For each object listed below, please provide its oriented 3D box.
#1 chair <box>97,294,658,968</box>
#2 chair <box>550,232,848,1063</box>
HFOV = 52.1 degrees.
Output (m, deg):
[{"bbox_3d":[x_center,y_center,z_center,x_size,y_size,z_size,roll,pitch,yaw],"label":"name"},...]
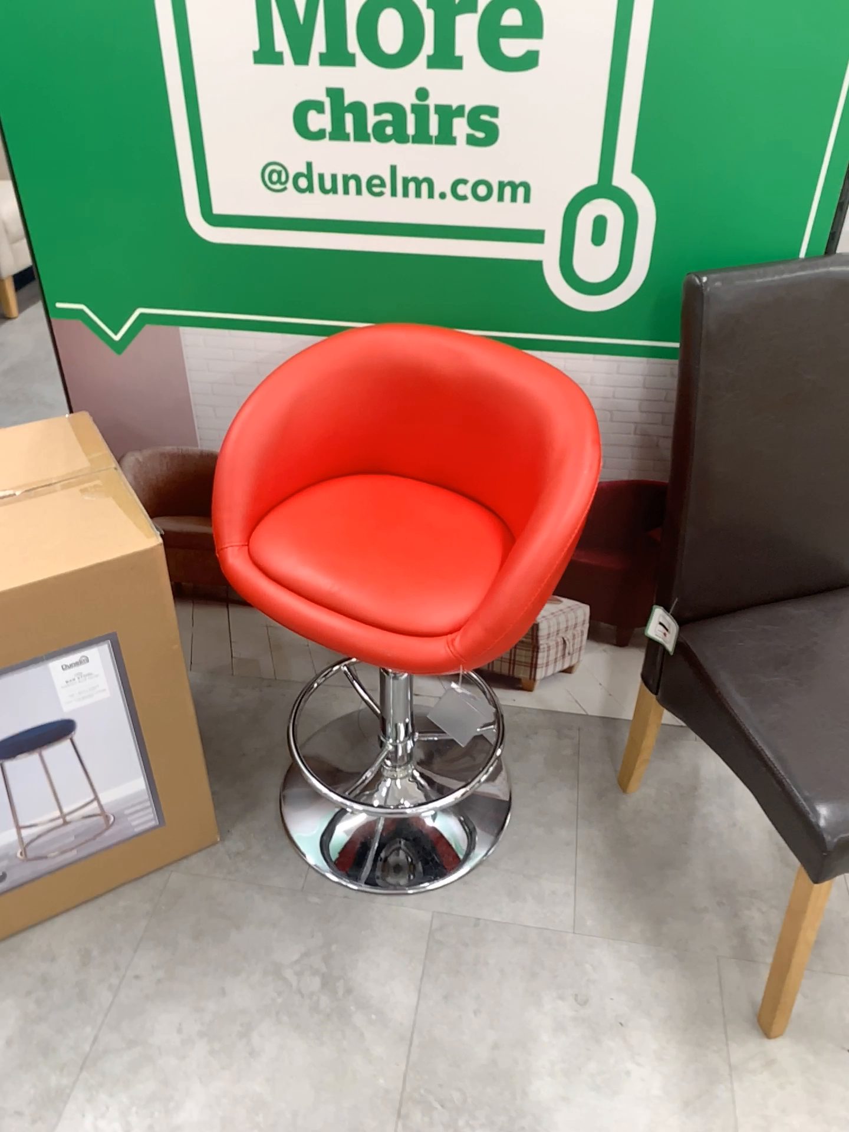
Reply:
[{"bbox_3d":[-0.035,0.076,1.283,0.535,0.743,0.464,16,38,21],"label":"chair"},{"bbox_3d":[0.549,0.093,1.147,0.504,0.852,0.535,-12,37,-16],"label":"chair"}]
